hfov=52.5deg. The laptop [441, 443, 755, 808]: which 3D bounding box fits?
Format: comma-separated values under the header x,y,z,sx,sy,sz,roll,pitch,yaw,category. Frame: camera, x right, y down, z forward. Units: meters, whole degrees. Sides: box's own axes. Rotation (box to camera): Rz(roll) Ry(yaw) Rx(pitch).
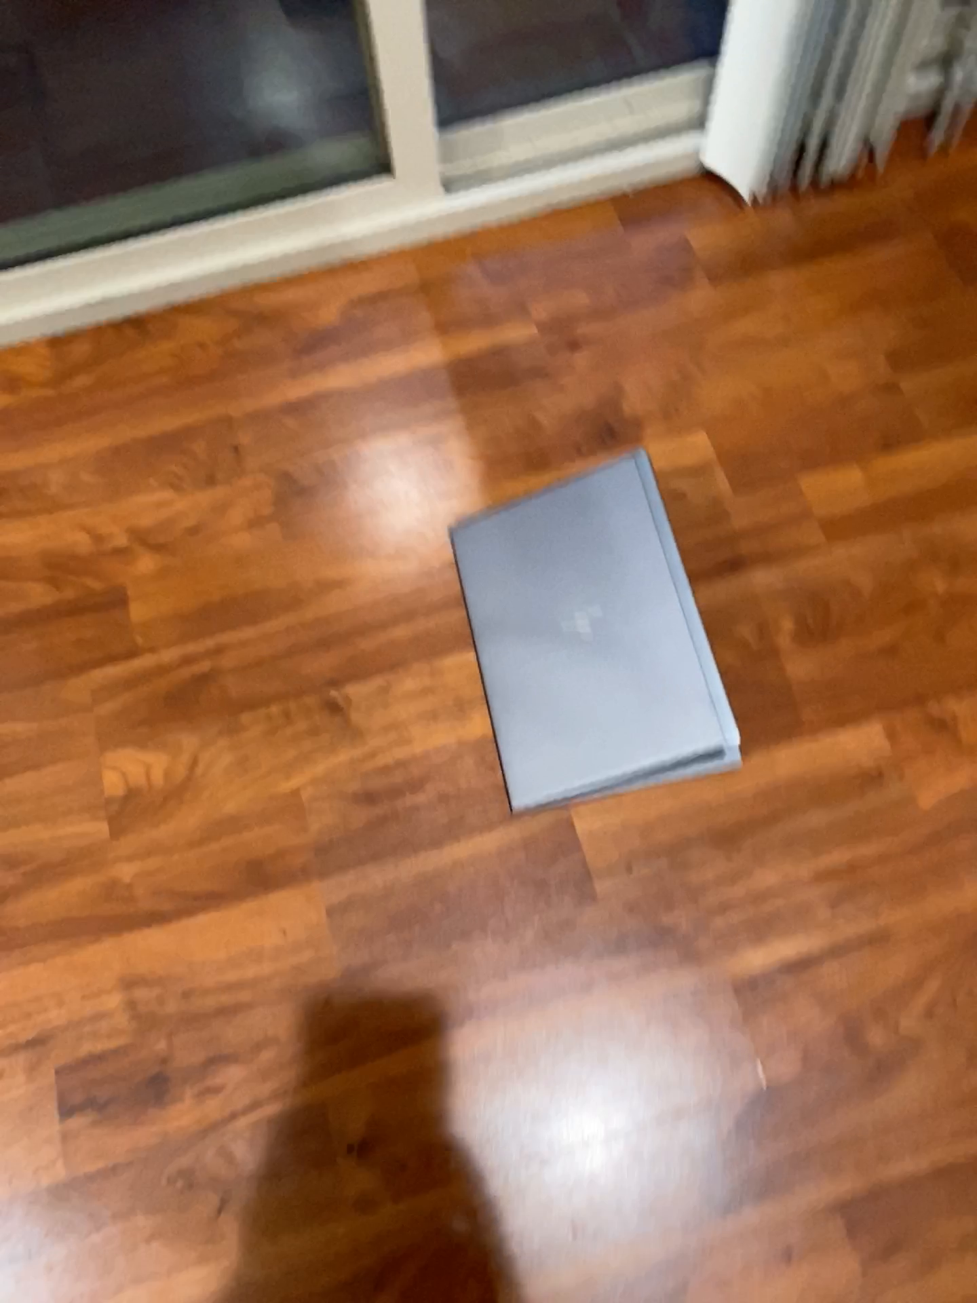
x,y,z,sx,sy,sz,roll,pitch,yaw,category
0.099,-0.032,0.997,0.230,0.078,0.325,-12,68,-4,laptop
